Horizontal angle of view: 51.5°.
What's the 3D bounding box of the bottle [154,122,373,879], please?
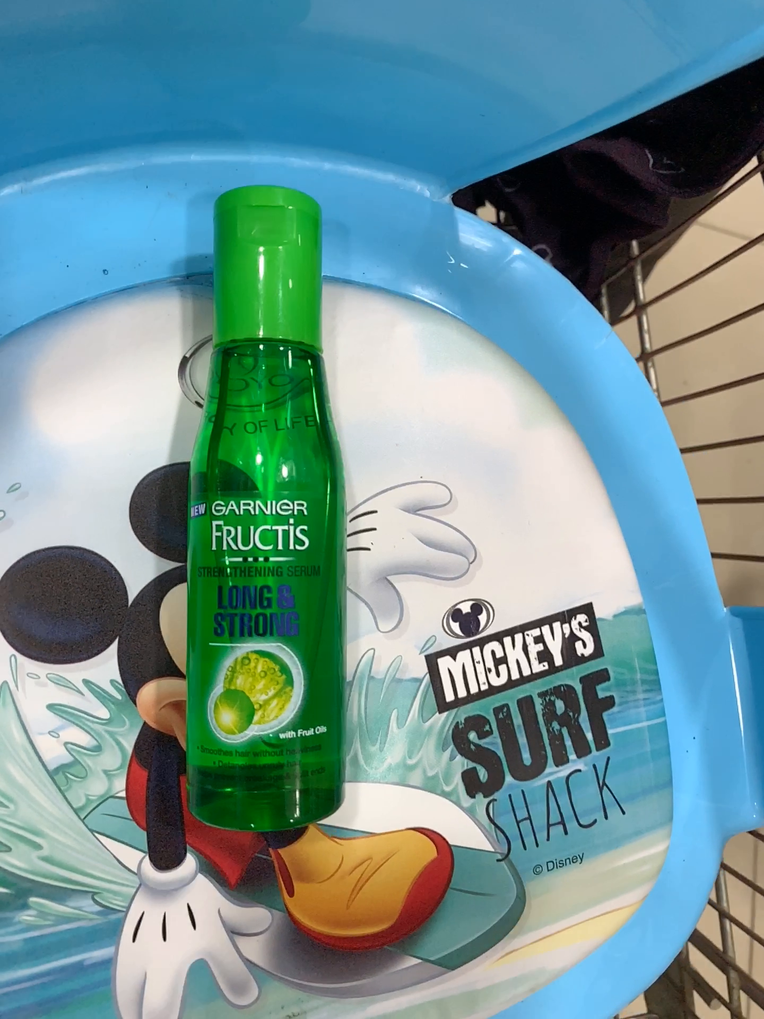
[{"bbox_3d":[-0.027,-0.003,0.190,0.040,0.040,0.160,-2,85,9],"label":"bottle"}]
